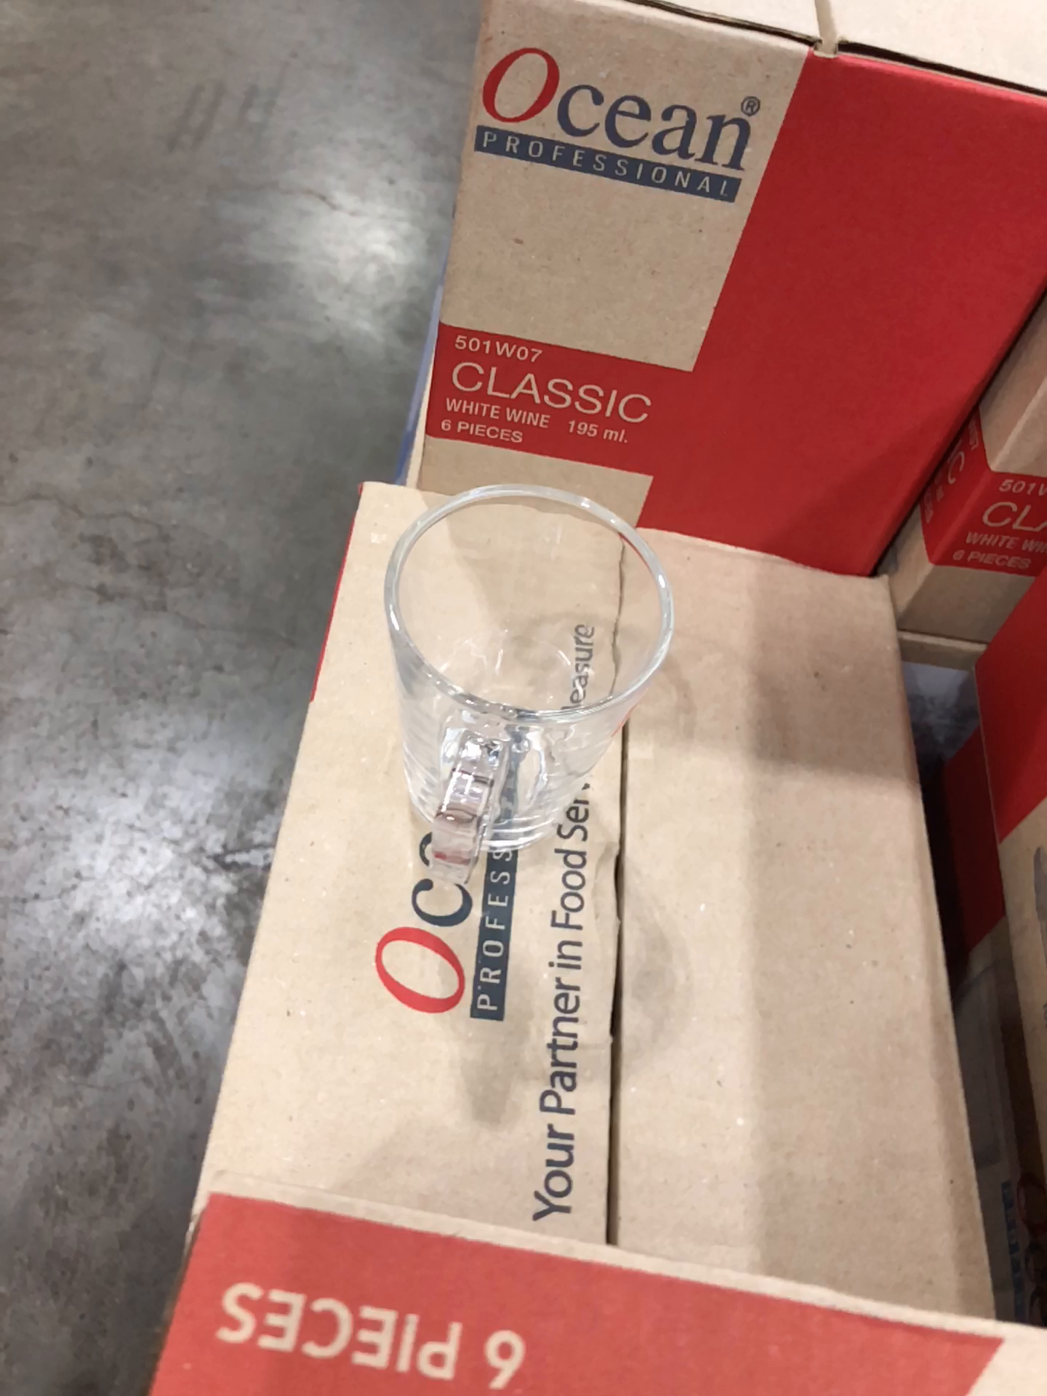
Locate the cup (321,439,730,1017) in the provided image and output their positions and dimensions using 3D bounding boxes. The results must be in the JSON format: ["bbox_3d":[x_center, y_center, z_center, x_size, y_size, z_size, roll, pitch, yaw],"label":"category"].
[{"bbox_3d":[-0.003,0.011,0.258,0.060,0.100,0.070,17,54,2],"label":"cup"}]
